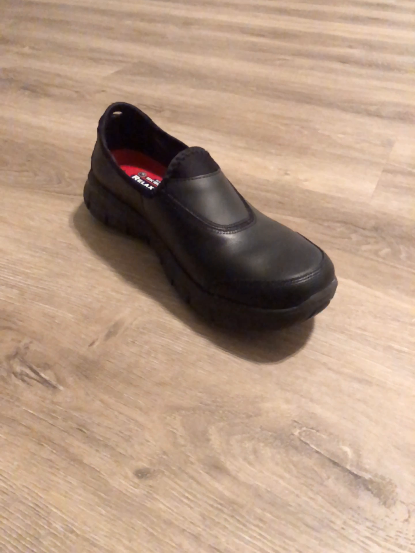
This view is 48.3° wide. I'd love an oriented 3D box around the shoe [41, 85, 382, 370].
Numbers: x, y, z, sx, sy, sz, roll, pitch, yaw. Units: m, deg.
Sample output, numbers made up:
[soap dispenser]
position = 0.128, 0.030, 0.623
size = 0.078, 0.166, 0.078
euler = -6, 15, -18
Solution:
[shoe]
position = -0.014, -0.056, 0.338
size = 0.090, 0.090, 0.241
euler = -29, 48, -31
